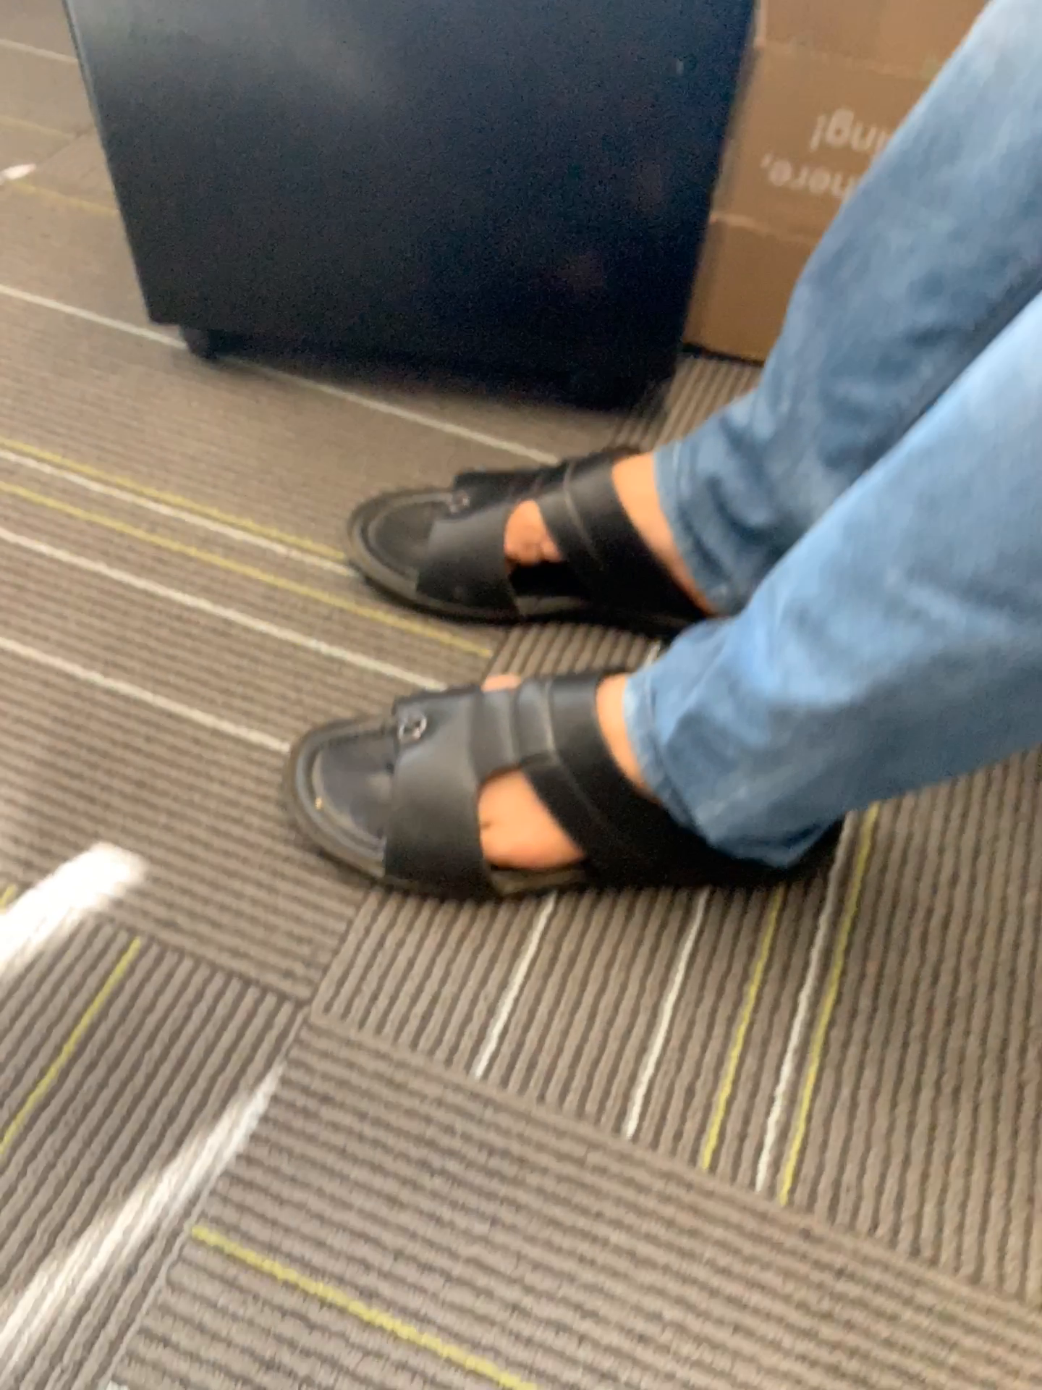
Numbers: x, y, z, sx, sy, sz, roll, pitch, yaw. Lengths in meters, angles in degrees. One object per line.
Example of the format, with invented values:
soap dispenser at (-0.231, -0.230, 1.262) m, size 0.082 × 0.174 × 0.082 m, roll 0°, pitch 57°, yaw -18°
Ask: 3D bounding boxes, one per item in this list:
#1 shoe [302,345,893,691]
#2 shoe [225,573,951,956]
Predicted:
shoe at (0.043, -0.107, 0.656) m, size 0.316 × 0.115 × 0.119 m, roll 8°, pitch 53°, yaw 2°
shoe at (0.030, 0.037, 0.551) m, size 0.316 × 0.115 × 0.119 m, roll 6°, pitch 53°, yaw 0°
